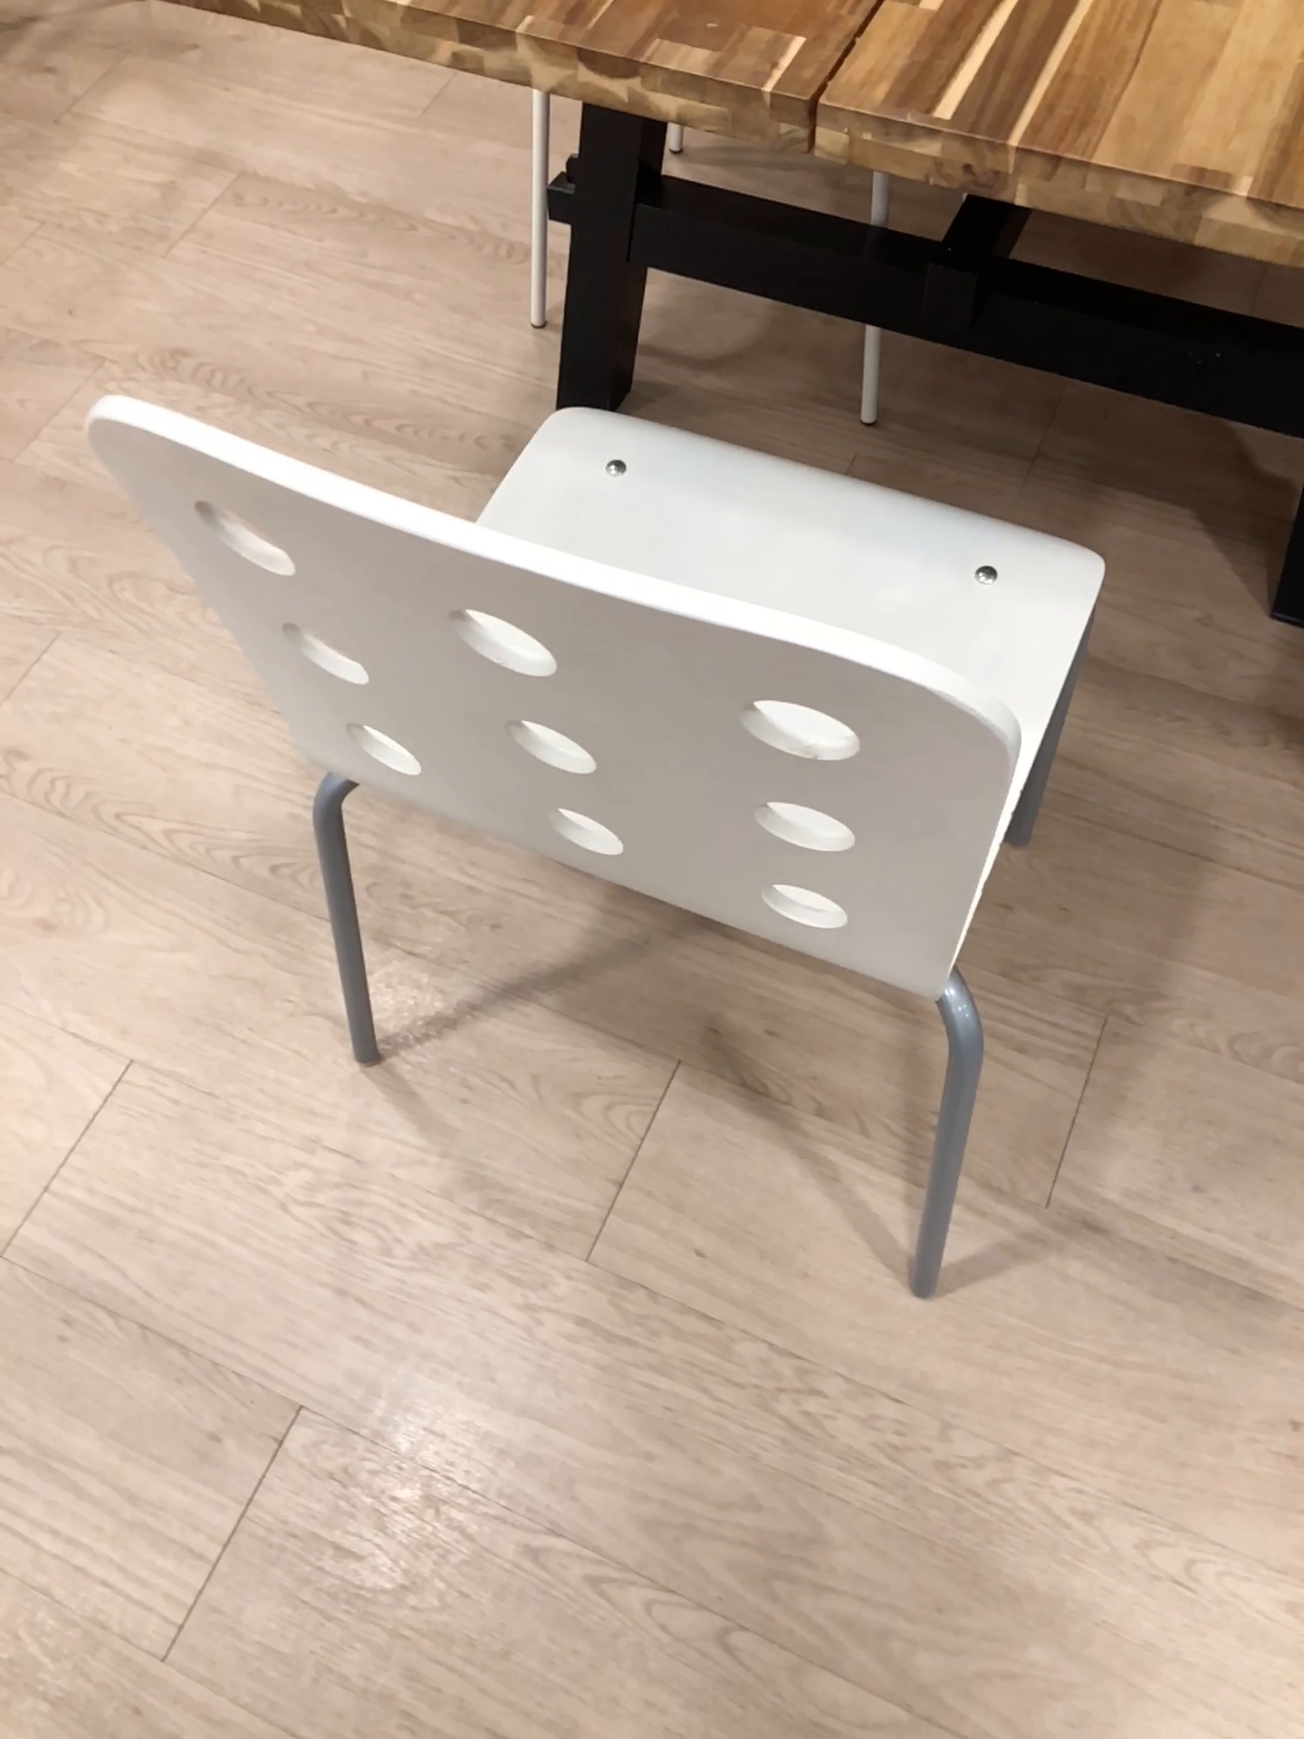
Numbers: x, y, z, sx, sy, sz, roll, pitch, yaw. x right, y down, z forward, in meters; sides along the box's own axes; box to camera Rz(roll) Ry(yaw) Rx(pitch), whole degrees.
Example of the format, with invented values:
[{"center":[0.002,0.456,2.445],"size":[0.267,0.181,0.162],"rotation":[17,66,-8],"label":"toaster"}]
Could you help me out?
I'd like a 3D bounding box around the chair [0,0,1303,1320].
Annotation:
[{"center":[0.035,-0.125,0.955],"size":[0.571,0.717,0.492],"rotation":[18,61,14],"label":"chair"}]
